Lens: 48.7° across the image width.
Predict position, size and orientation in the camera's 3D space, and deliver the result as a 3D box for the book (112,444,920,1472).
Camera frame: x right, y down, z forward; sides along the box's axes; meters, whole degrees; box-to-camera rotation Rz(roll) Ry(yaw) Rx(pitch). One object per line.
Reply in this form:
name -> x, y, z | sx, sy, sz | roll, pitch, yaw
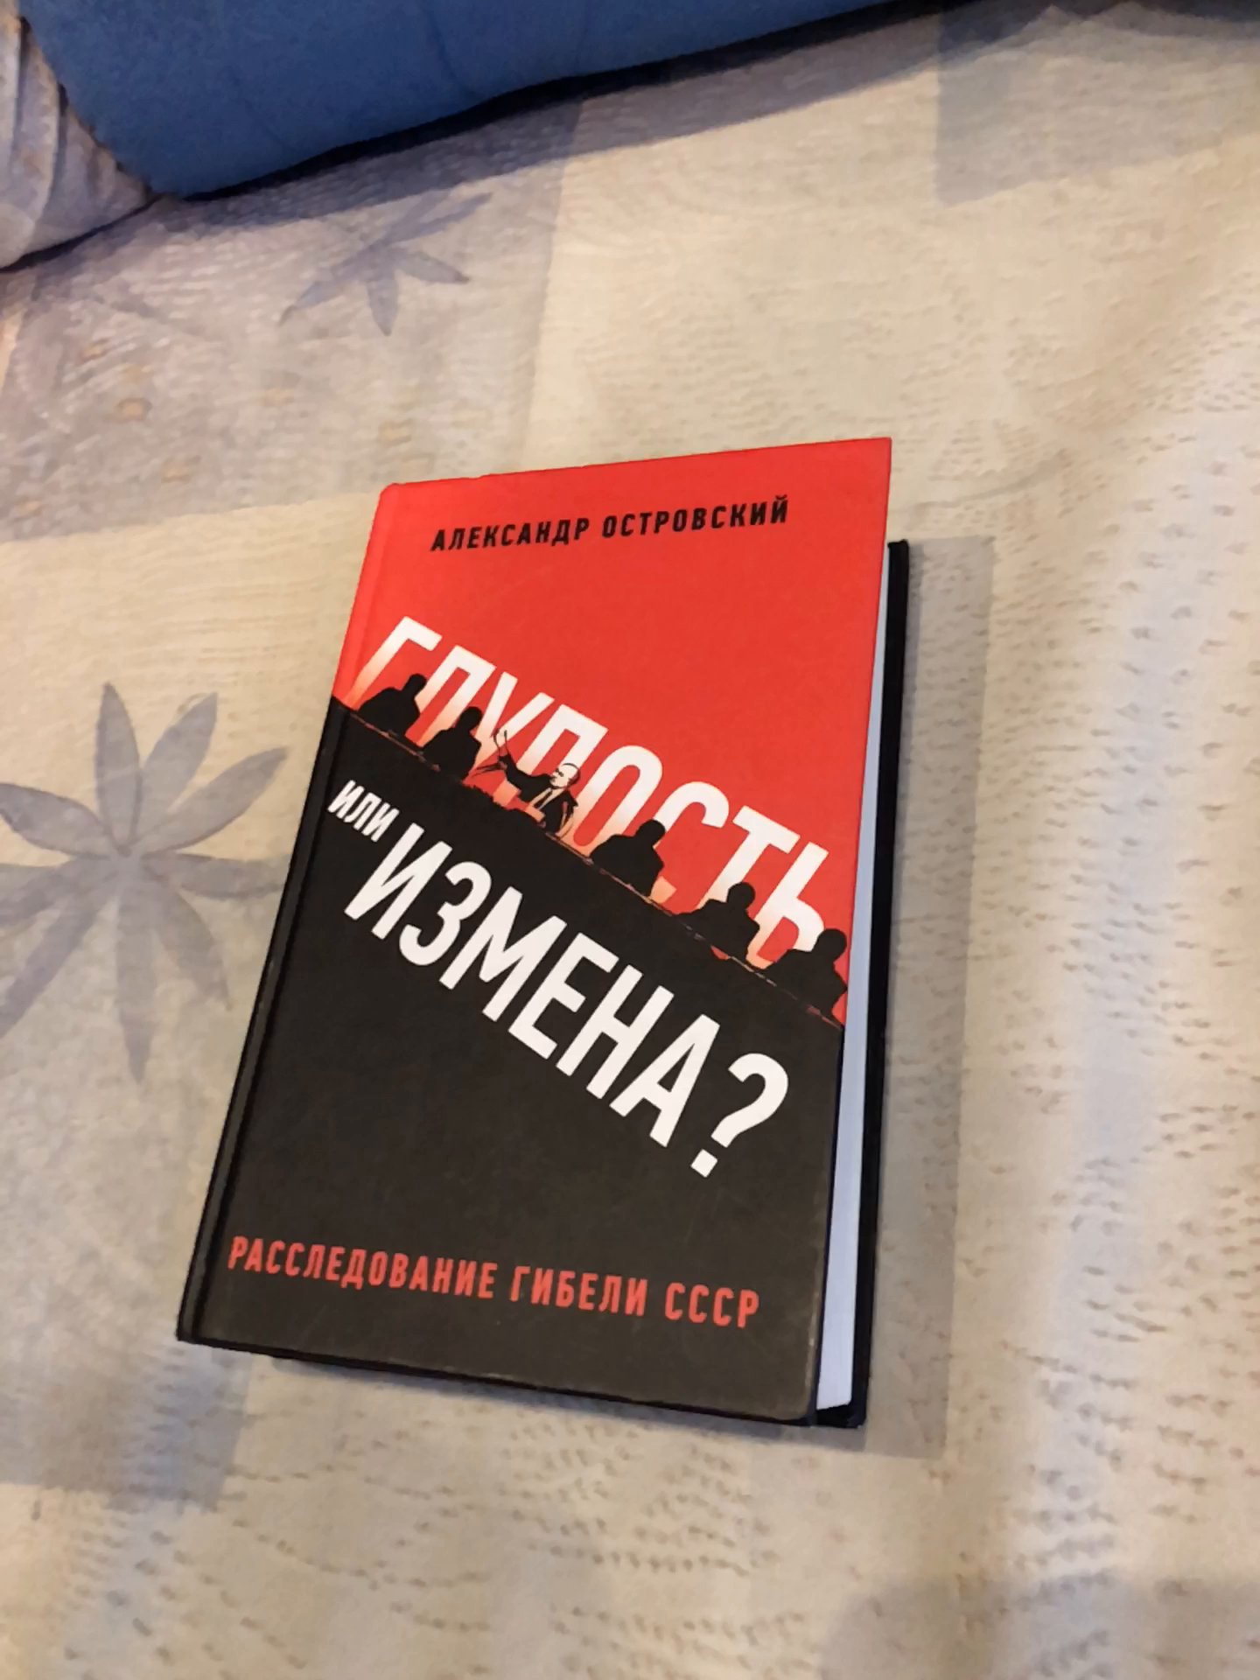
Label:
book -> -0.013, 0.017, 0.300 | 0.135, 0.050, 0.200 | 0, 65, 19
